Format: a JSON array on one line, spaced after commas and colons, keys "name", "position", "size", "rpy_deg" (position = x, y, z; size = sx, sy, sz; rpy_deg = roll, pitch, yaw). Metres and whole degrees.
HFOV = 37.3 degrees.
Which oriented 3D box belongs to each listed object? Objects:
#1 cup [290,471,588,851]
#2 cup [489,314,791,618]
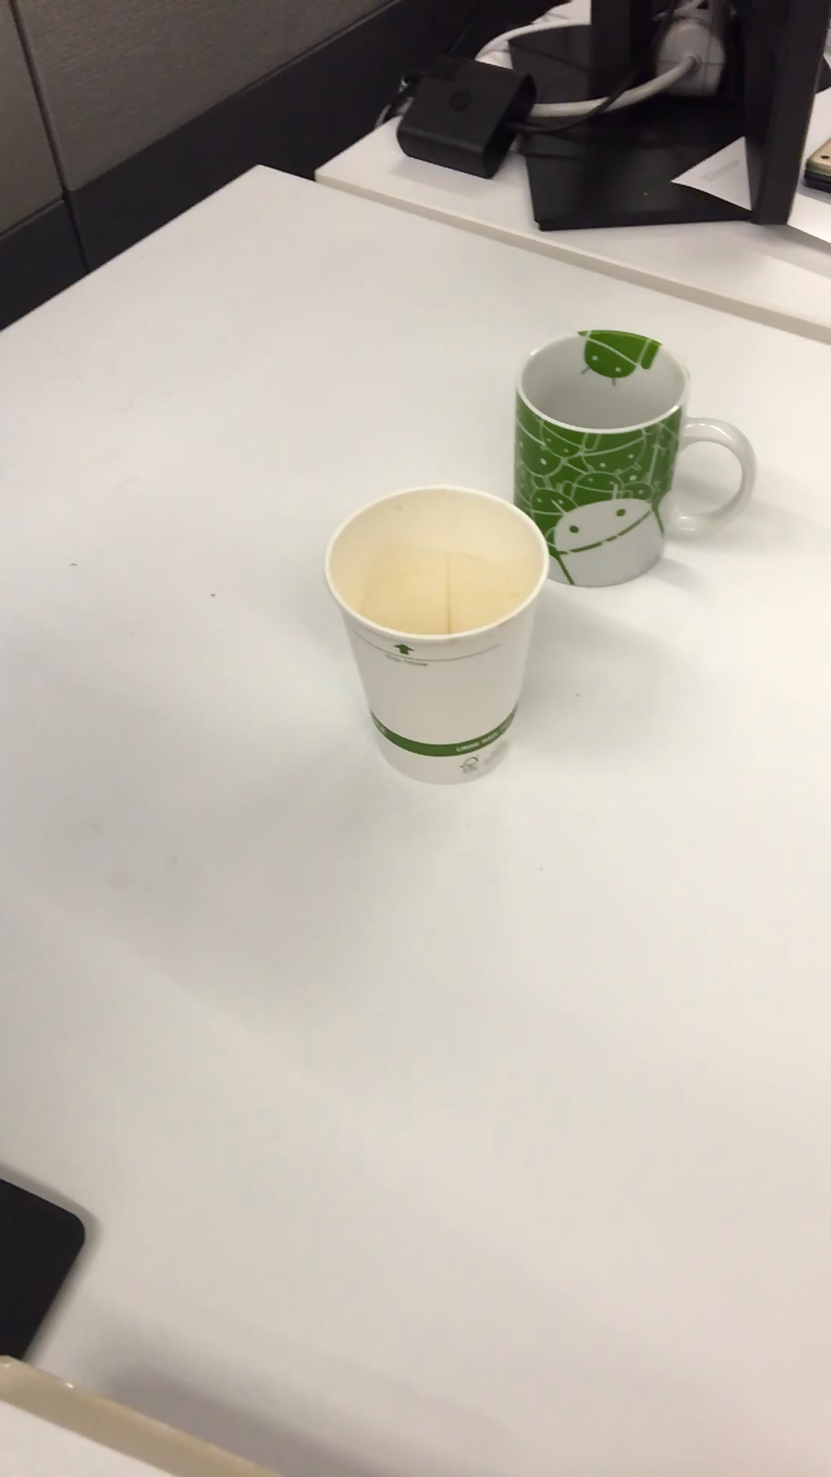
[{"name": "cup", "position": [0.013, -0.031, 0.503], "size": [0.090, 0.110, 0.090], "rpy_deg": [-2, 50, 2]}, {"name": "cup", "position": [0.105, -0.131, 0.589], "size": [0.120, 0.090, 0.090], "rpy_deg": [11, 52, 13]}]
